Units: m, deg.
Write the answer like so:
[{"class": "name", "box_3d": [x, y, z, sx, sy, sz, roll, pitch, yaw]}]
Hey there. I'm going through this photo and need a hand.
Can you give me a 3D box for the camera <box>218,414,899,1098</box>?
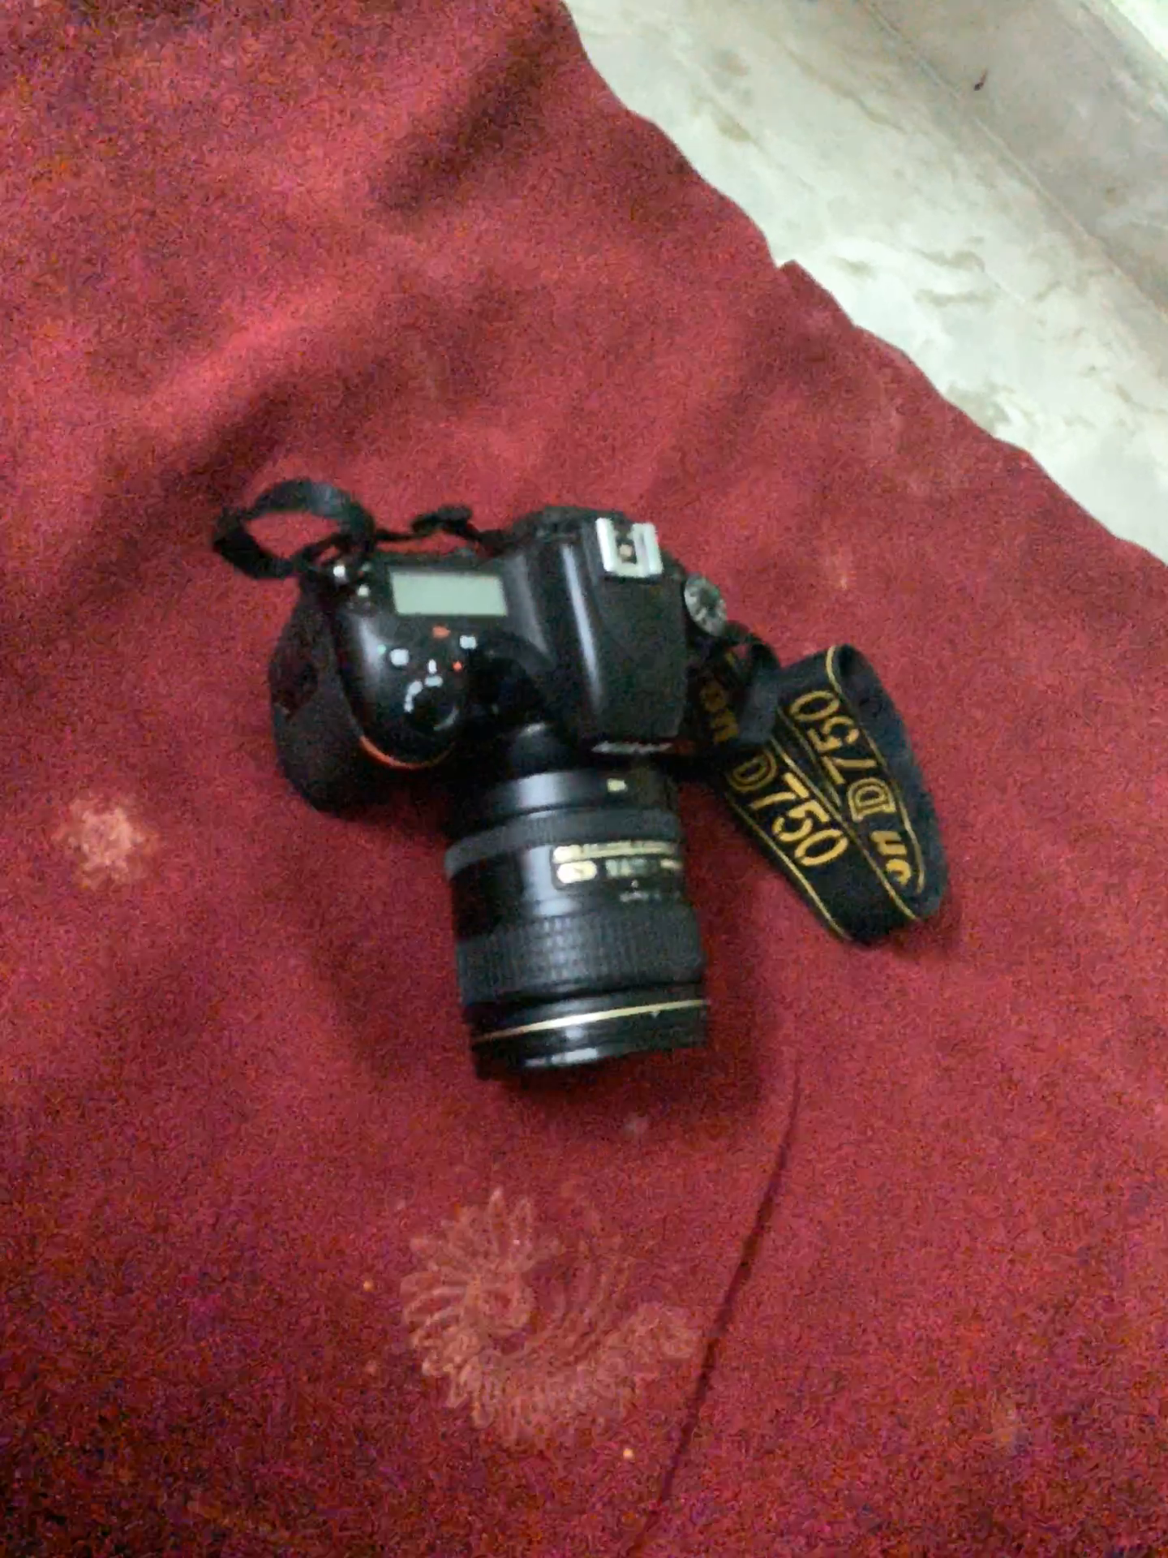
[{"class": "camera", "box_3d": [-0.016, -0.001, 0.360, 0.150, 0.110, 0.160, -2, 73, -29]}]
